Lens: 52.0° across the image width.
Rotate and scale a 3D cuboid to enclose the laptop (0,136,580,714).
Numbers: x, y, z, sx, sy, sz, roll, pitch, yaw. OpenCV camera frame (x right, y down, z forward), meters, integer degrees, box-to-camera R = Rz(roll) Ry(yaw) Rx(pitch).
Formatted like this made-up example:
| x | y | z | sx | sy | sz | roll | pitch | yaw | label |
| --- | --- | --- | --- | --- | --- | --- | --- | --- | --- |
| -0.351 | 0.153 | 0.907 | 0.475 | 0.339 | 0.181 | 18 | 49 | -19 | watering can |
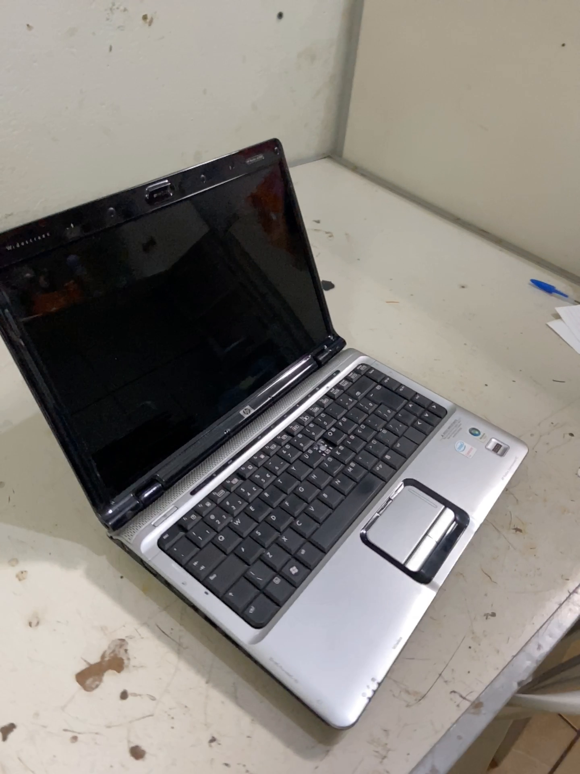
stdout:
| x | y | z | sx | sy | sz | roll | pitch | yaw | label |
| --- | --- | --- | --- | --- | --- | --- | --- | --- | --- |
| 0.021 | -0.020 | 0.486 | 0.334 | 0.193 | 0.322 | 31 | 47 | 24 | laptop |
